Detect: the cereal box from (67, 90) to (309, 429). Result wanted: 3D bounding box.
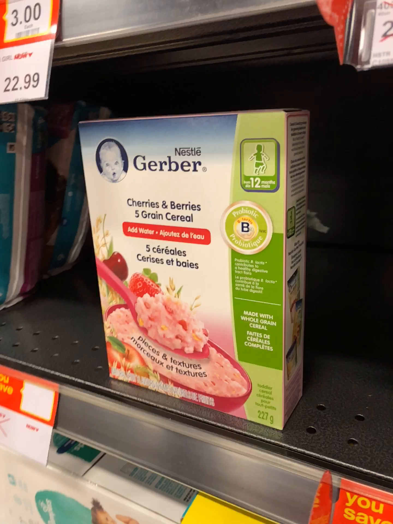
[{"bbox_3d":[-0.005,-0.004,0.299,0.150,0.199,0.040,7,20,29],"label":"cereal box"}]
